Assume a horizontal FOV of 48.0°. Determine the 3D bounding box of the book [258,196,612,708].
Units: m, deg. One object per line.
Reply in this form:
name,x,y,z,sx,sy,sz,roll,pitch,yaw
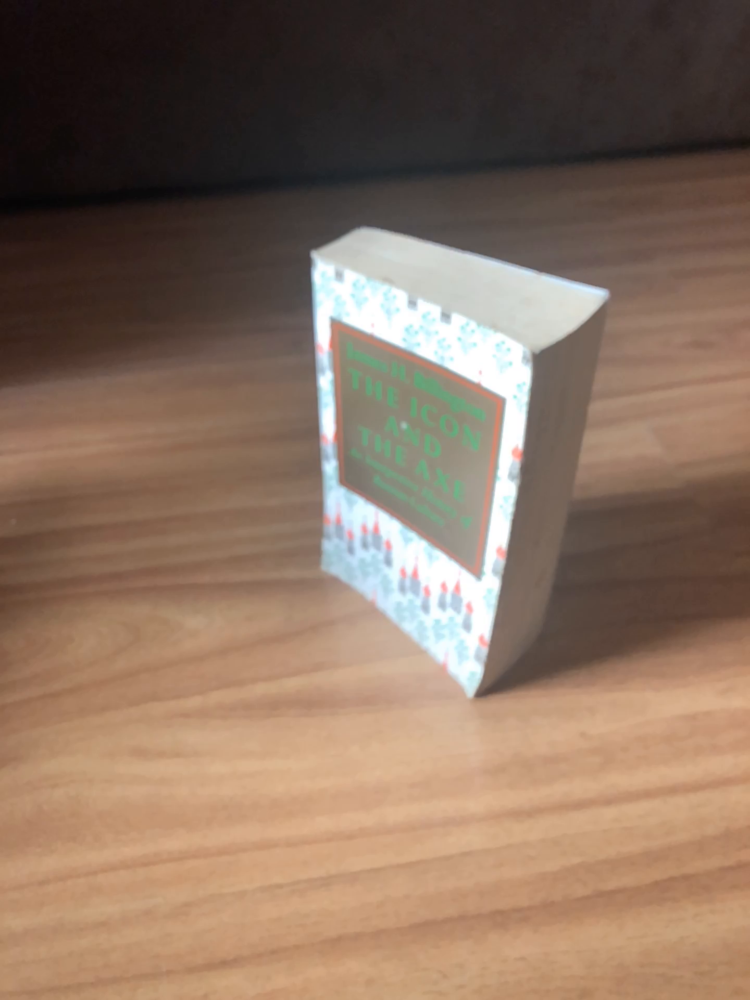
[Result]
book,0.019,-0.024,0.413,0.060,0.199,0.151,-28,45,-32
